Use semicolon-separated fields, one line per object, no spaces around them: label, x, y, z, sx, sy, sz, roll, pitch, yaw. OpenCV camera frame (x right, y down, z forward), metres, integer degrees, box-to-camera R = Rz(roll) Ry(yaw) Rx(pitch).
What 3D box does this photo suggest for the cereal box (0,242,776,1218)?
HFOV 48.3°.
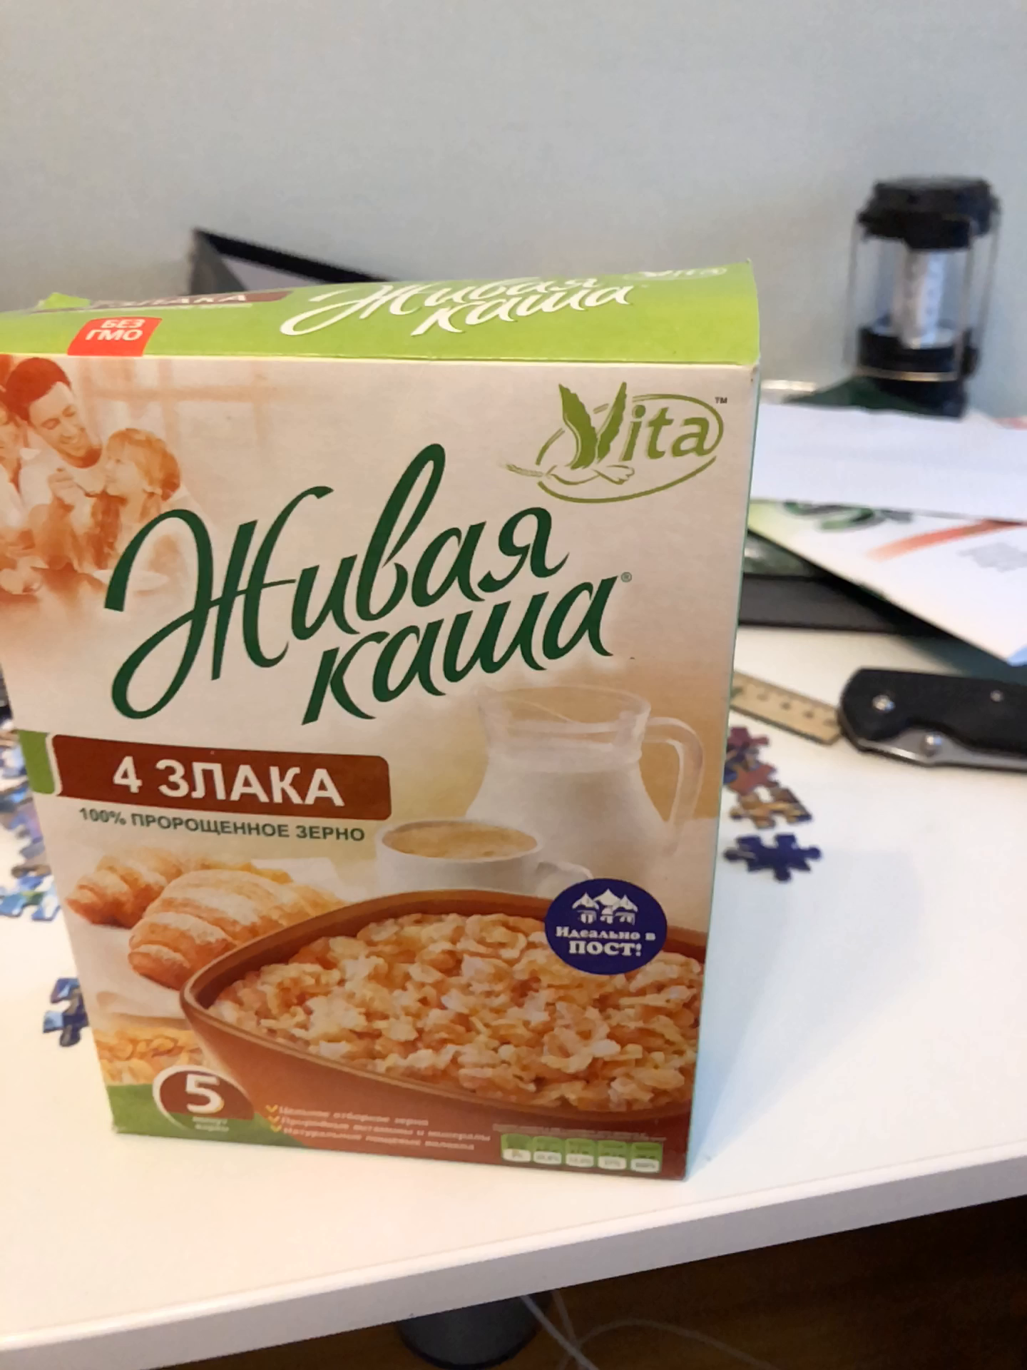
cereal box;-0.027;0.019;0.250;0.140;0.209;0.050;3;29;6
